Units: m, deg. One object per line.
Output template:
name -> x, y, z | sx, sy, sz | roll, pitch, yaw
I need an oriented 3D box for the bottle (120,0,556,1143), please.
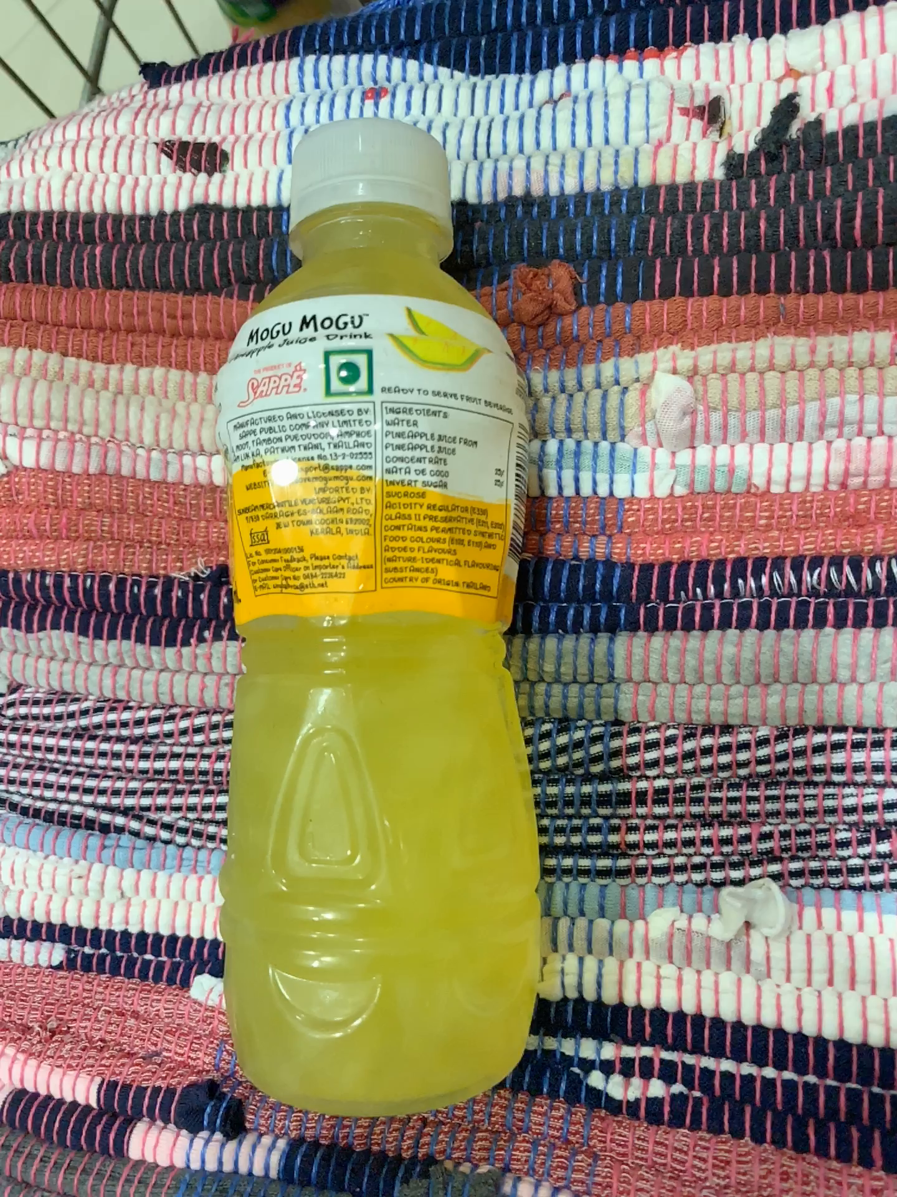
bottle -> -0.015, -0.014, 0.175 | 0.060, 0.050, 0.190 | -2, 81, 15
